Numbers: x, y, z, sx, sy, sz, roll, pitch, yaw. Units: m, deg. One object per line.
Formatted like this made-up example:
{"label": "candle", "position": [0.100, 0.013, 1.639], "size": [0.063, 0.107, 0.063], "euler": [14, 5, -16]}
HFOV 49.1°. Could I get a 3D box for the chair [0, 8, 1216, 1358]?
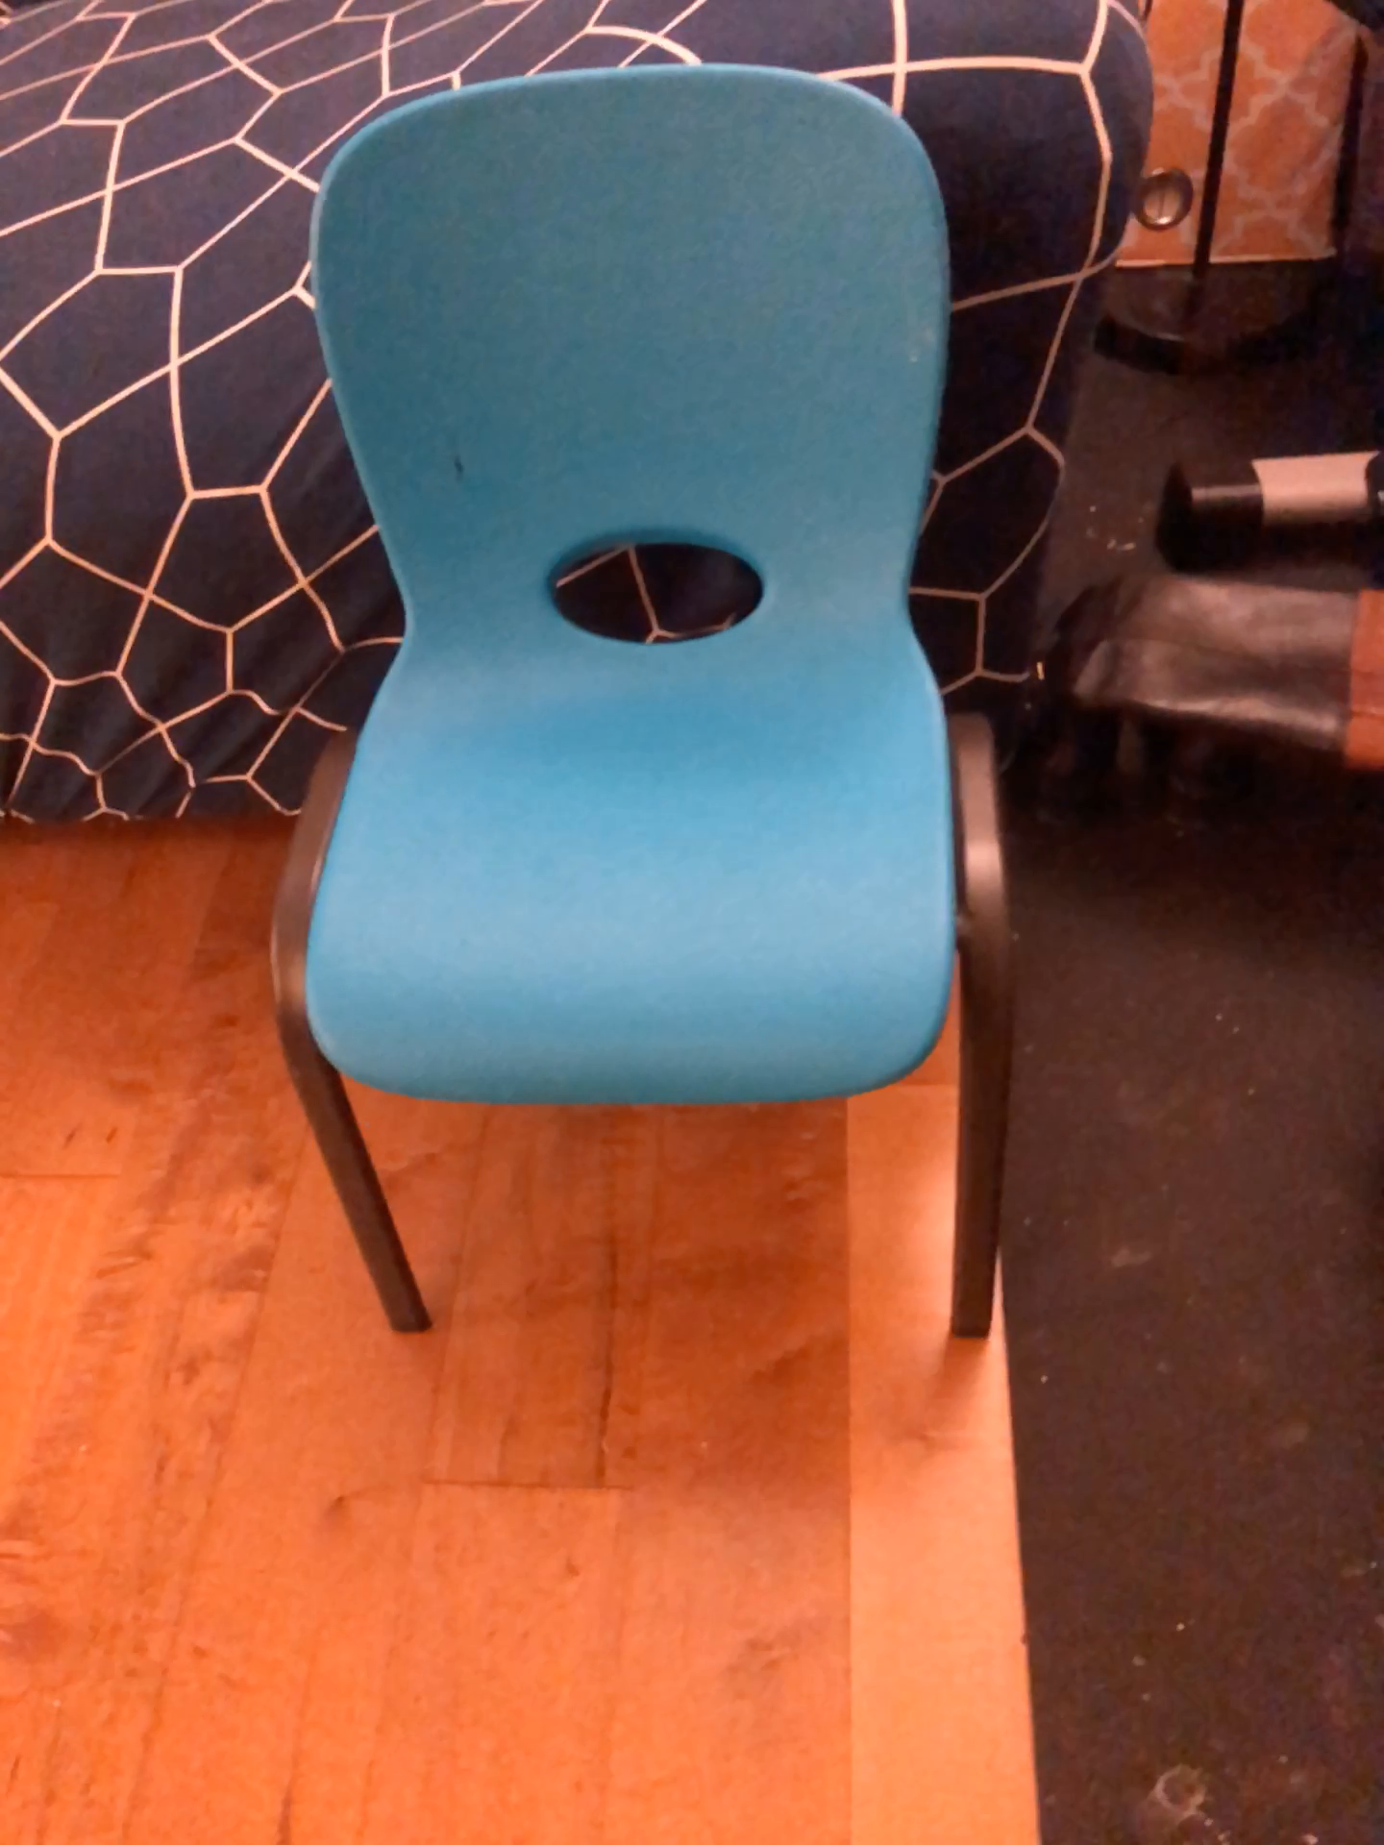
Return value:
{"label": "chair", "position": [-0.040, -0.082, 0.778], "size": [0.430, 0.527, 0.402], "euler": [-3, 50, 4]}
